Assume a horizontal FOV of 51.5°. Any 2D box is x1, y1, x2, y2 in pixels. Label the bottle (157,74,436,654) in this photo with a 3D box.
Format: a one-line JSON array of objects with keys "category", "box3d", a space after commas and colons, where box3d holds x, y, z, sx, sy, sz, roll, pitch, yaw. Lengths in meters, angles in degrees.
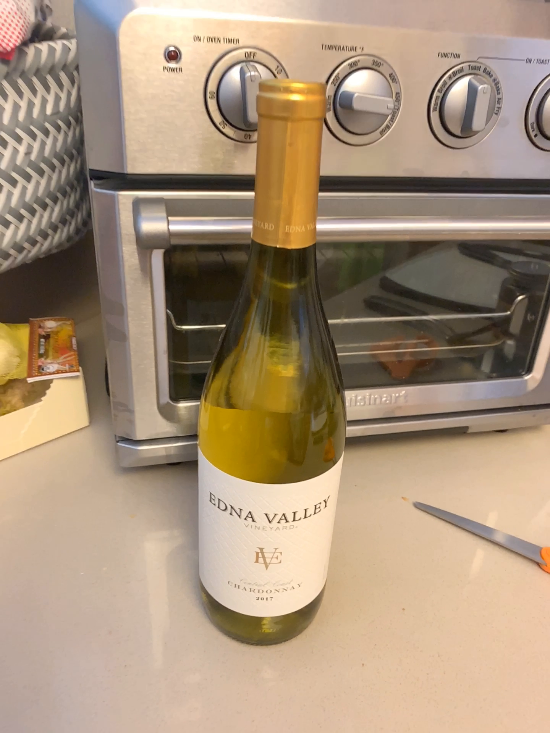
[{"category": "bottle", "box3d": [-0.002, 0.012, 0.288, 0.090, 0.278, 0.091, 2, 28, -1]}]
